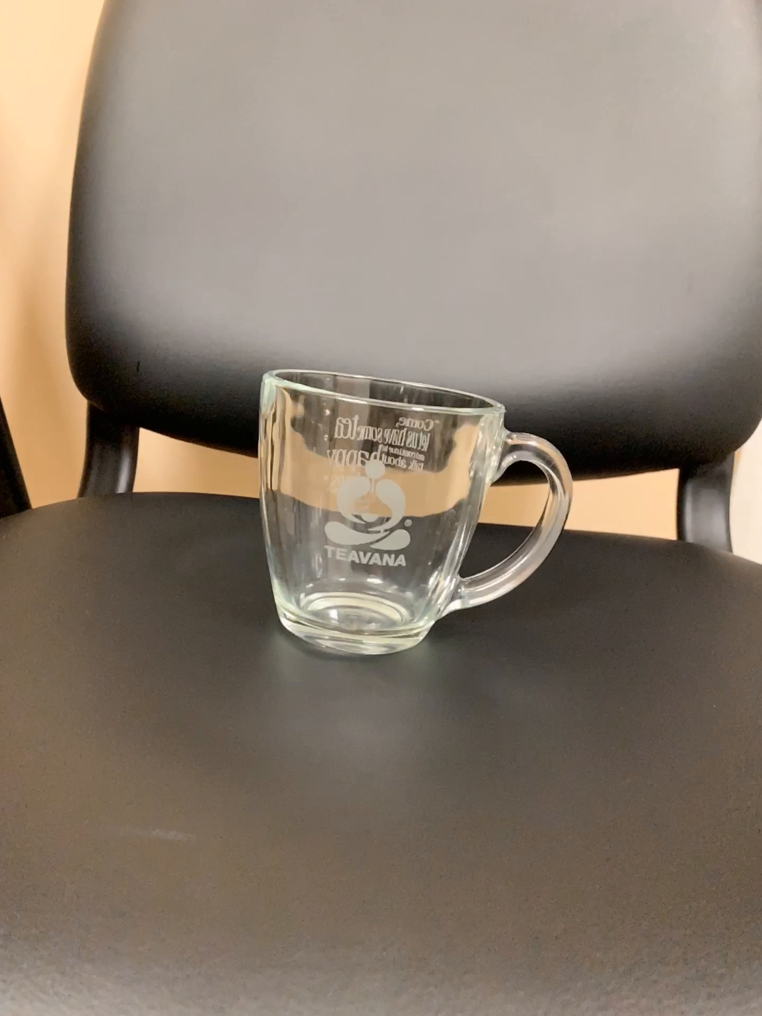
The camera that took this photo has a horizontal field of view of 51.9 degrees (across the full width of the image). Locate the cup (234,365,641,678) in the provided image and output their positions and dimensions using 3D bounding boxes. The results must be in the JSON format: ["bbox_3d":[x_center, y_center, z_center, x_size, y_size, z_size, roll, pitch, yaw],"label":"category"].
[{"bbox_3d":[0.015,0.001,0.336,0.139,0.100,0.096,6,13,-8],"label":"cup"}]
